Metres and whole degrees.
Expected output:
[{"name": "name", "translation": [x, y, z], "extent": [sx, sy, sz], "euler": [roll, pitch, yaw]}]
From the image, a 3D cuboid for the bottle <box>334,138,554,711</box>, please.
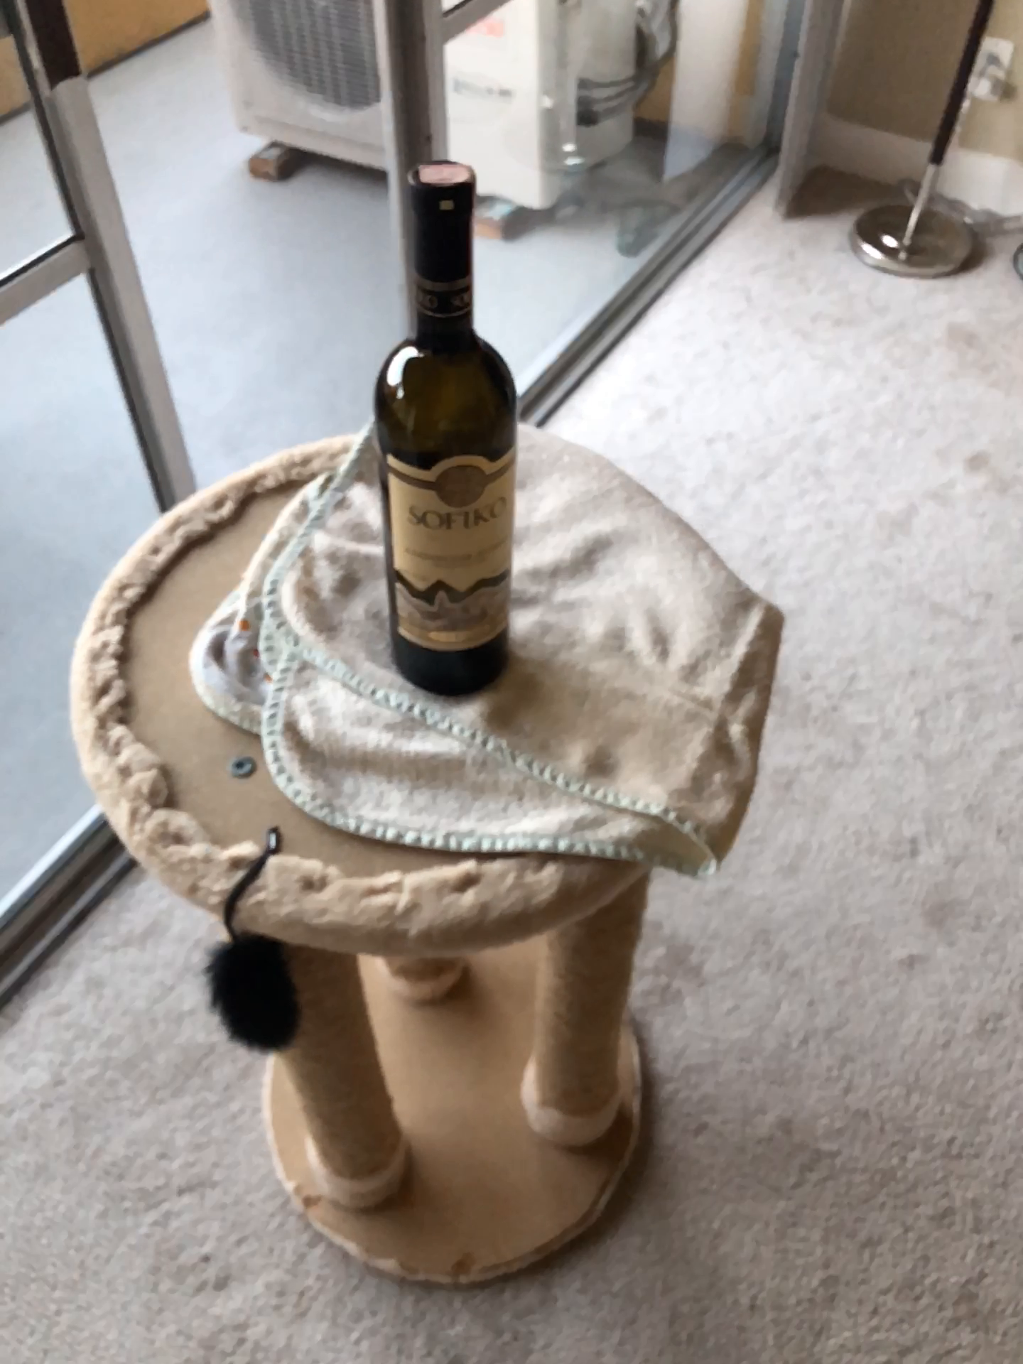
[{"name": "bottle", "translation": [-0.030, -0.104, 0.546], "extent": [0.080, 0.269, 0.080], "euler": [0, 50, 0]}]
